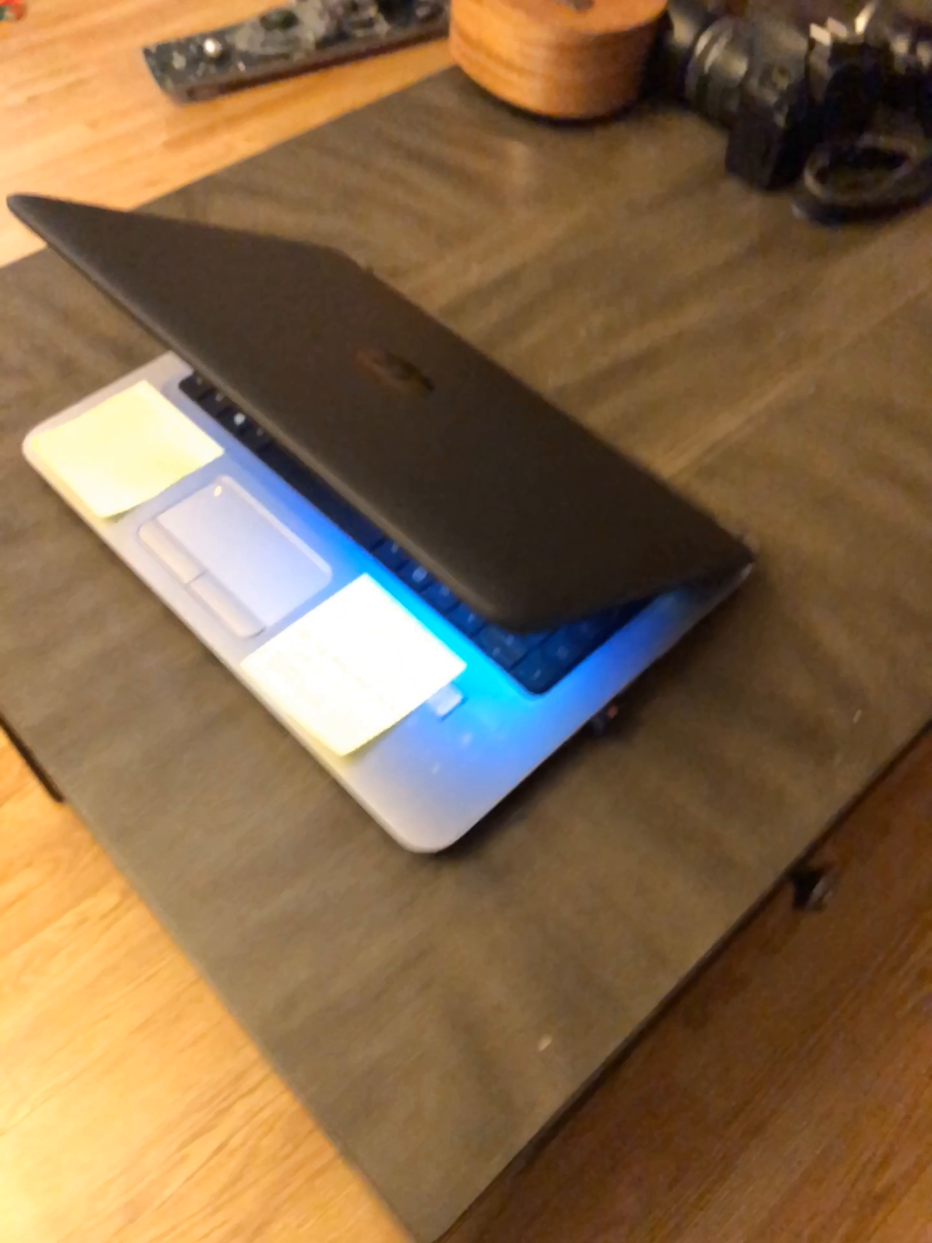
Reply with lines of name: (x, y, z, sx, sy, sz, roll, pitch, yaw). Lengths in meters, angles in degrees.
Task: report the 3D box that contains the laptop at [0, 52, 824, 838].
laptop: (-0.046, -0.105, 0.501, 0.226, 0.131, 0.324, -38, 66, -24)
